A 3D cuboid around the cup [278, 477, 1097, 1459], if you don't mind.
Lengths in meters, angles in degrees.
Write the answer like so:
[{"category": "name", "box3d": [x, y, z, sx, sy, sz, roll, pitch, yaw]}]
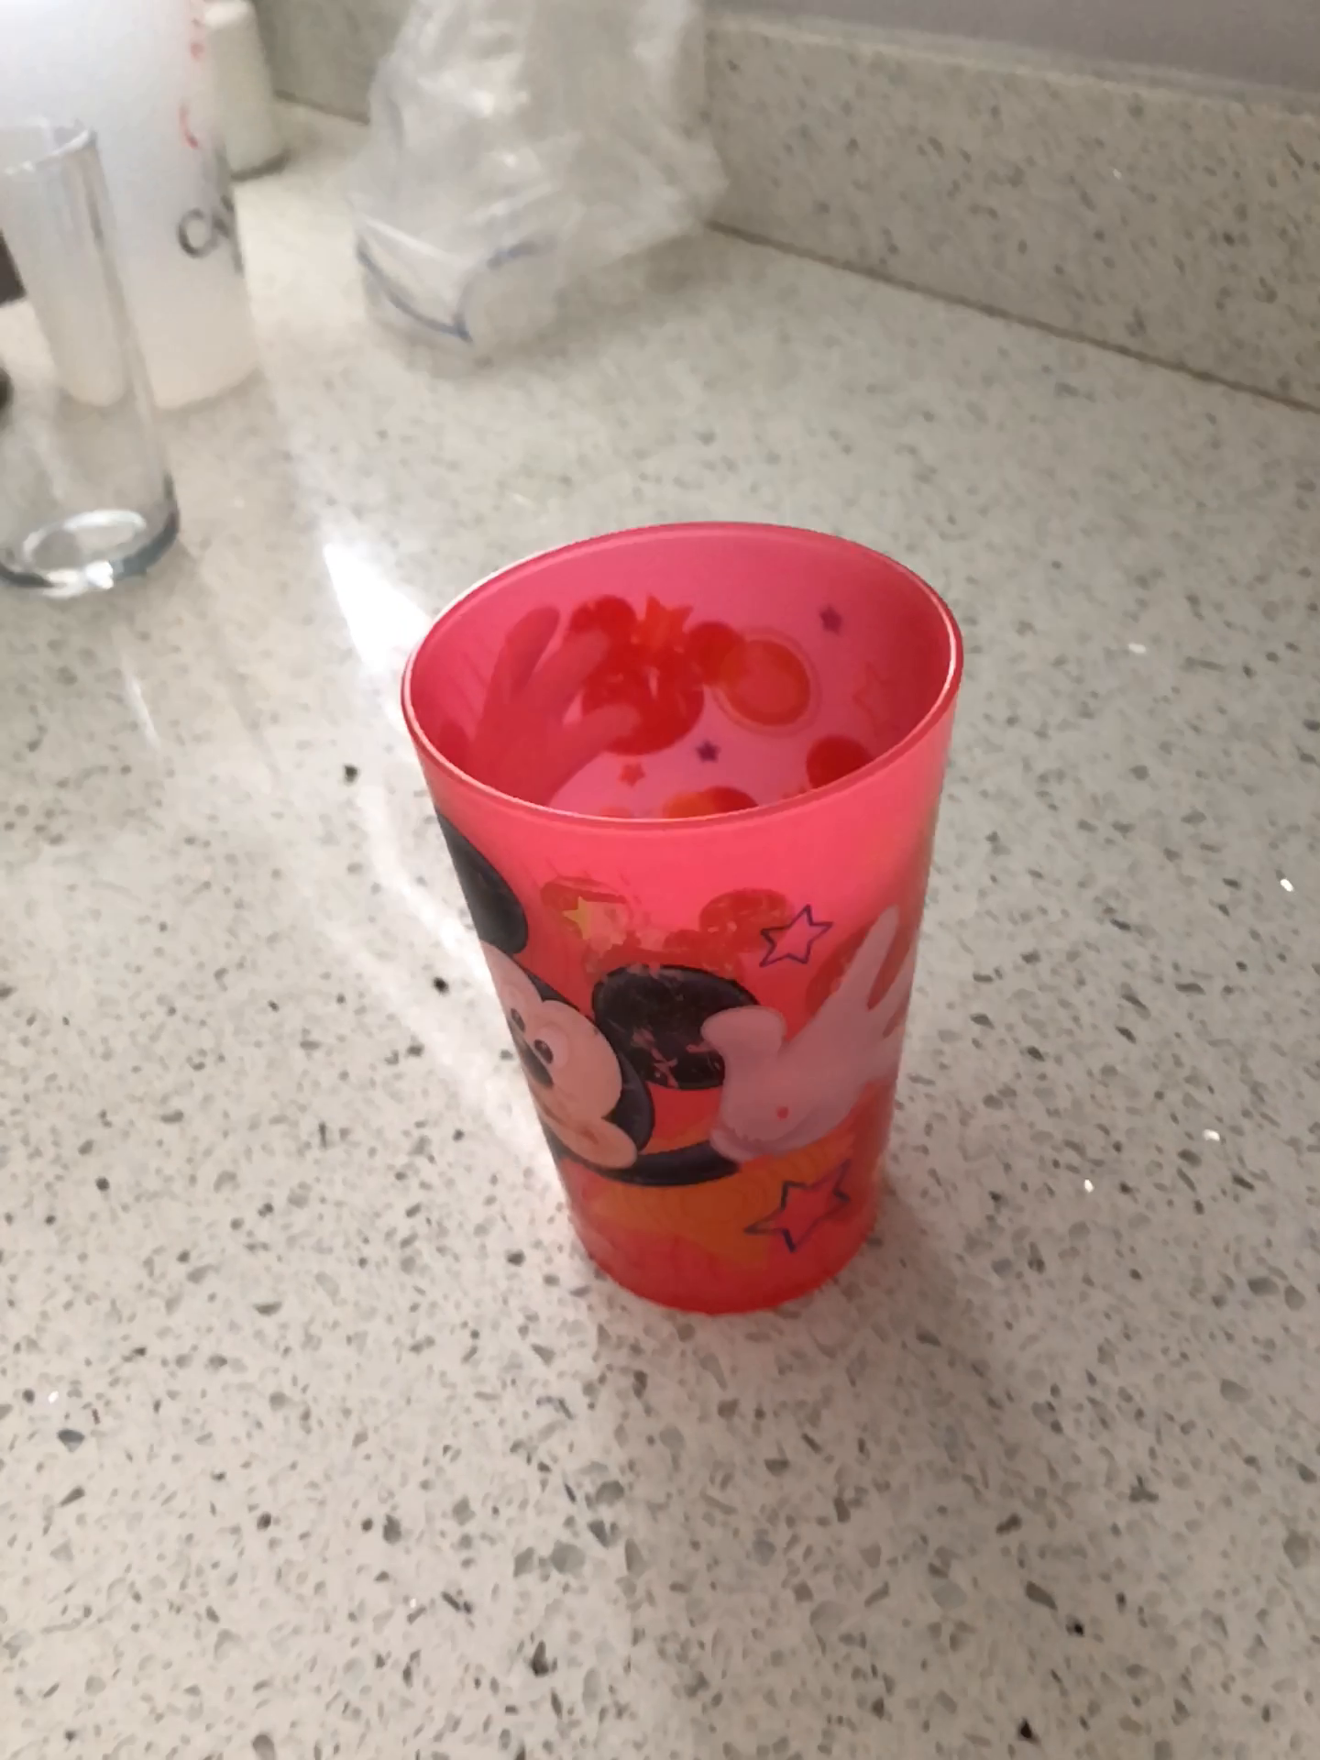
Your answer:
[{"category": "cup", "box3d": [0.005, 0.010, 0.212, 0.071, 0.096, 0.074, -4, 40, 3]}]
